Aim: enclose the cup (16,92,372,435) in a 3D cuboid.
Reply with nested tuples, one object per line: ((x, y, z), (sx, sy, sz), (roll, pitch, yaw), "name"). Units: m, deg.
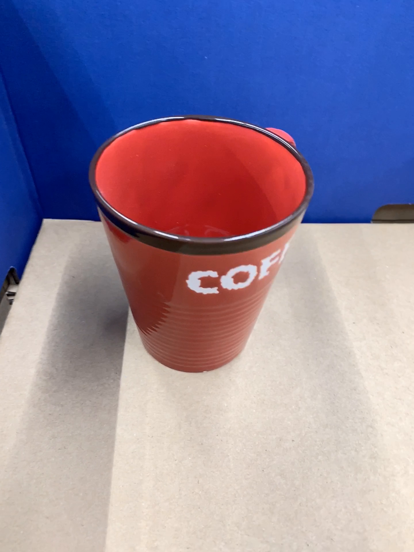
((0.000, -0.017, 0.220), (0.100, 0.092, 0.125), (28, 49, 26), "cup")
